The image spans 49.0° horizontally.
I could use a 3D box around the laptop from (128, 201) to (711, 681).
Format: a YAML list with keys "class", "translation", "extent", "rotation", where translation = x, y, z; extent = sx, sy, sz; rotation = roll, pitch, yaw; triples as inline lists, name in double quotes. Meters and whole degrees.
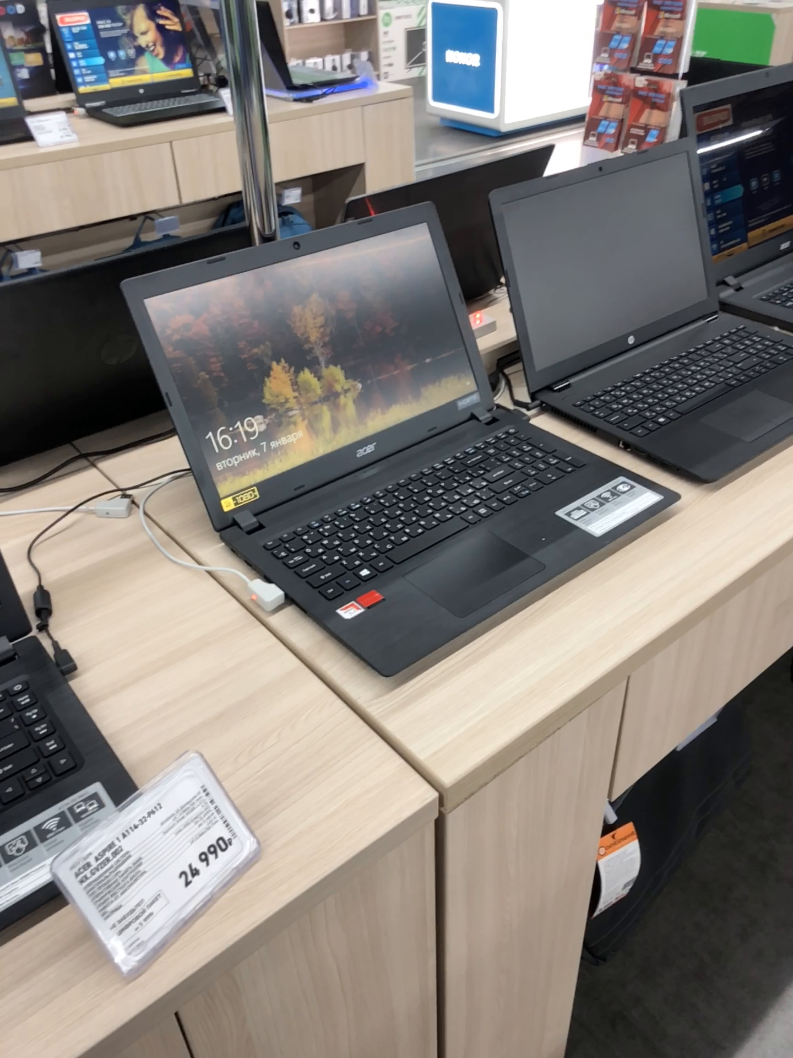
- class: "laptop"
  translation: [0.017, -0.126, 0.820]
  extent: [0.374, 0.208, 0.368]
  rotation: [-27, 43, -30]

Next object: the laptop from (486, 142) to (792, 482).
- class: "laptop"
  translation: [0.350, -0.284, 1.019]
  extent: [0.378, 0.212, 0.339]
  rotation: [-25, 41, -29]

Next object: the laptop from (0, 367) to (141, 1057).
- class: "laptop"
  translation: [-0.381, 0.096, 0.522]
  extent: [0.307, 0.214, 0.301]
  rotation: [-26, 43, -30]
